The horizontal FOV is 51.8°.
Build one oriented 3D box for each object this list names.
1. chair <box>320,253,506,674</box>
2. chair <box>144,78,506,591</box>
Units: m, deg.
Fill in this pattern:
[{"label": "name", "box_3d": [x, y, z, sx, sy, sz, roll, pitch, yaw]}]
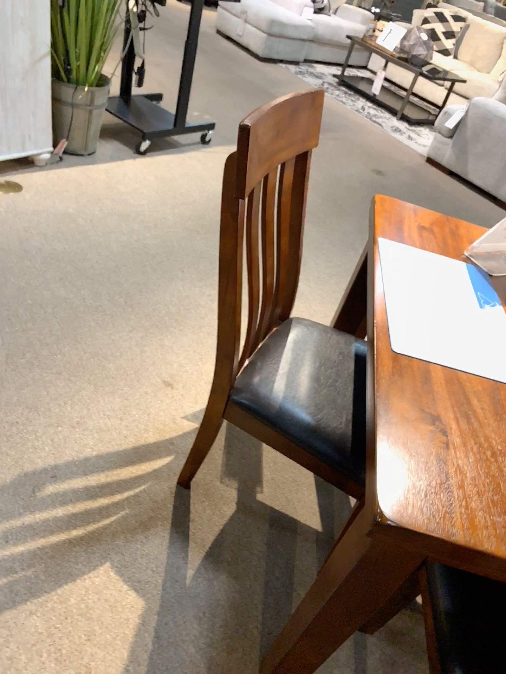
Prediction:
[{"label": "chair", "box_3d": [0.535, 0.465, 0.766, 0.591, 0.890, 0.532, 16, 38, -1]}, {"label": "chair", "box_3d": [0.178, 0.001, 1.190, 0.539, 0.890, 0.534, 27, 39, 13]}]
